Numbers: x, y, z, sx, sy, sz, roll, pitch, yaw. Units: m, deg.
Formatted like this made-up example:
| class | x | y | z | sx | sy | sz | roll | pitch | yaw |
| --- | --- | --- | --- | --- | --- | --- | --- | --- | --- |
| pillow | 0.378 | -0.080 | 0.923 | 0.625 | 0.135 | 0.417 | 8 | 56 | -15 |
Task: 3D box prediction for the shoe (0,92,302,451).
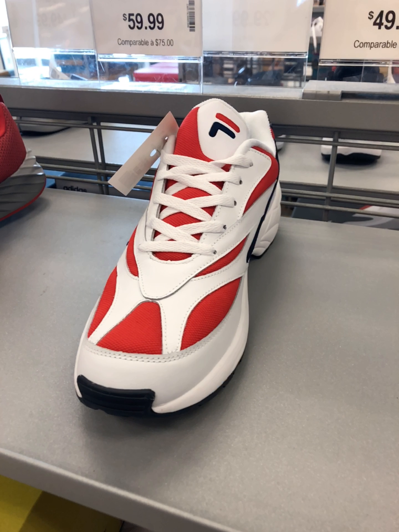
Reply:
| class | x | y | z | sx | sy | sz | roll | pitch | yaw |
| --- | --- | --- | --- | --- | --- | --- | --- | --- | --- |
| shoe | -0.009 | -0.033 | 0.333 | 0.120 | 0.129 | 0.272 | 9 | 34 | 17 |
